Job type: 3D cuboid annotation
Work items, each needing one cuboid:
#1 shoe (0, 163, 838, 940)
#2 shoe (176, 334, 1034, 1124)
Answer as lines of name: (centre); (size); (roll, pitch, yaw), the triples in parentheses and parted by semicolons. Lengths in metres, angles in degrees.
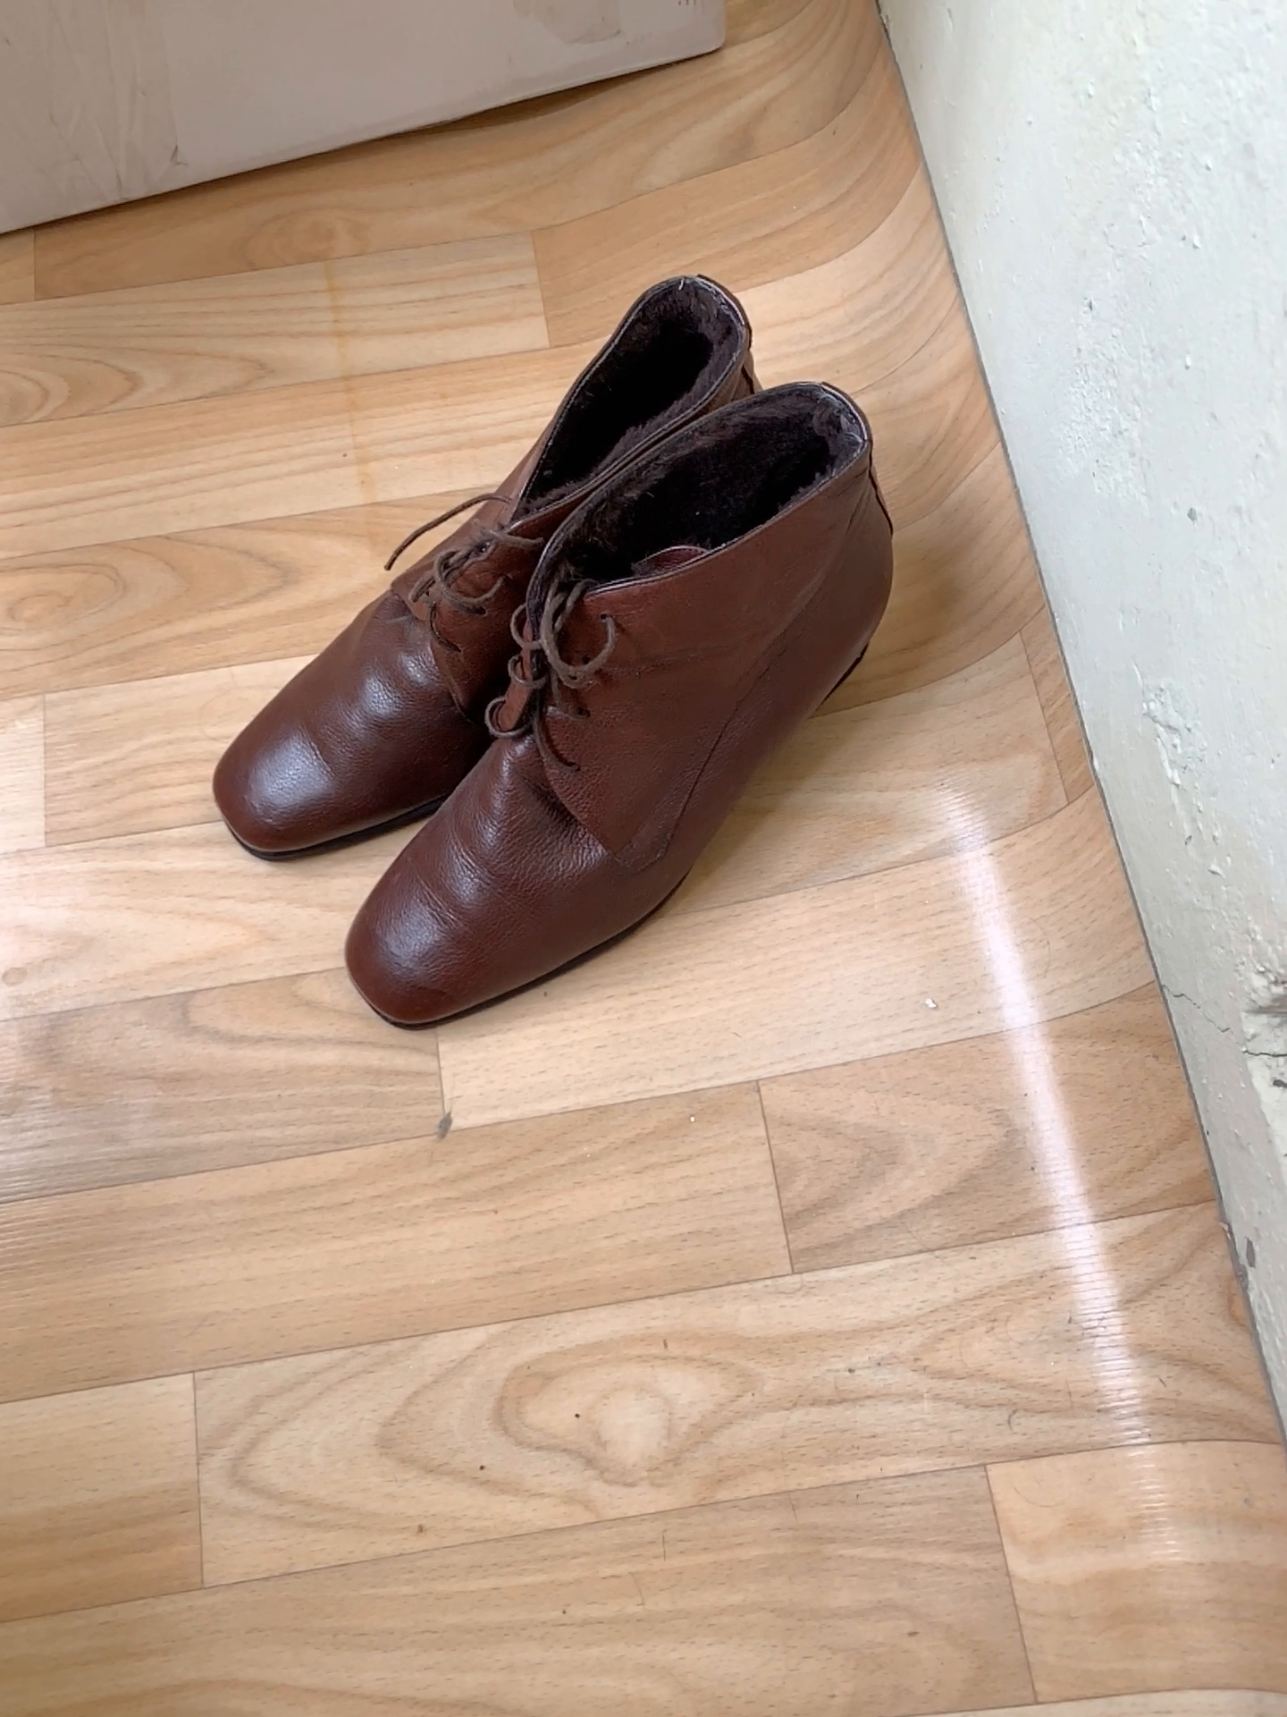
shoe: (-0.056, -0.086, 0.426); (0.220, 0.150, 0.080); (-33, 72, -7)
shoe: (-0.003, -0.028, 0.414); (0.220, 0.150, 0.080); (-37, 73, -8)
